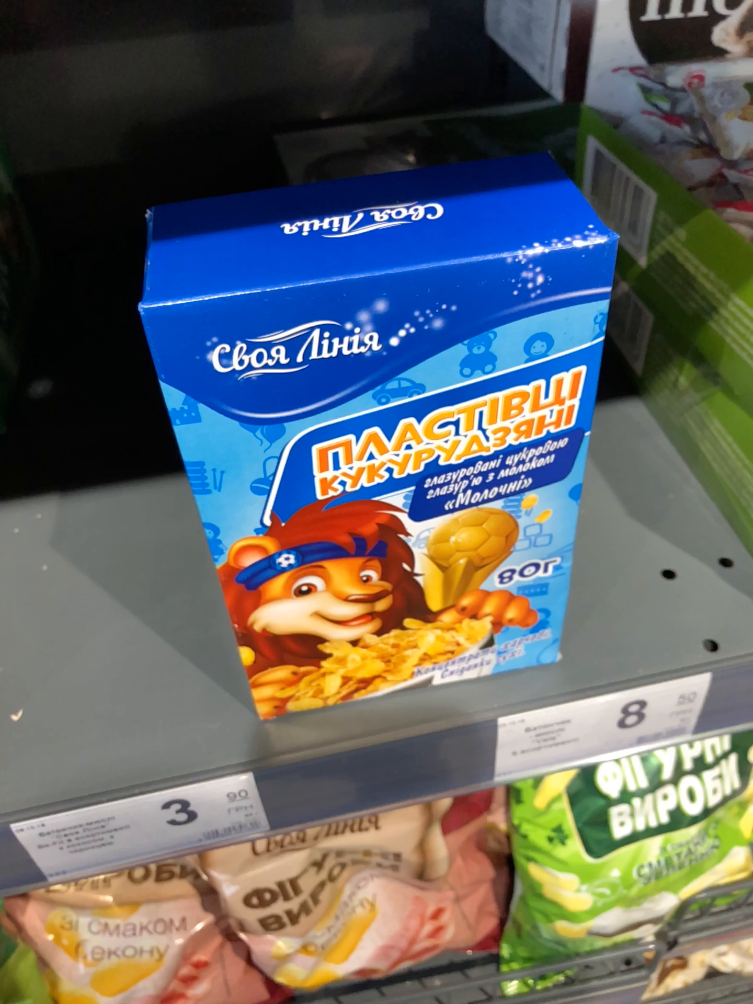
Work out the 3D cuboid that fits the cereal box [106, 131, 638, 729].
[{"bbox_3d":[-0.001,-0.012,0.266,0.120,0.169,0.060,-11,45,-7],"label":"cereal box"}]
